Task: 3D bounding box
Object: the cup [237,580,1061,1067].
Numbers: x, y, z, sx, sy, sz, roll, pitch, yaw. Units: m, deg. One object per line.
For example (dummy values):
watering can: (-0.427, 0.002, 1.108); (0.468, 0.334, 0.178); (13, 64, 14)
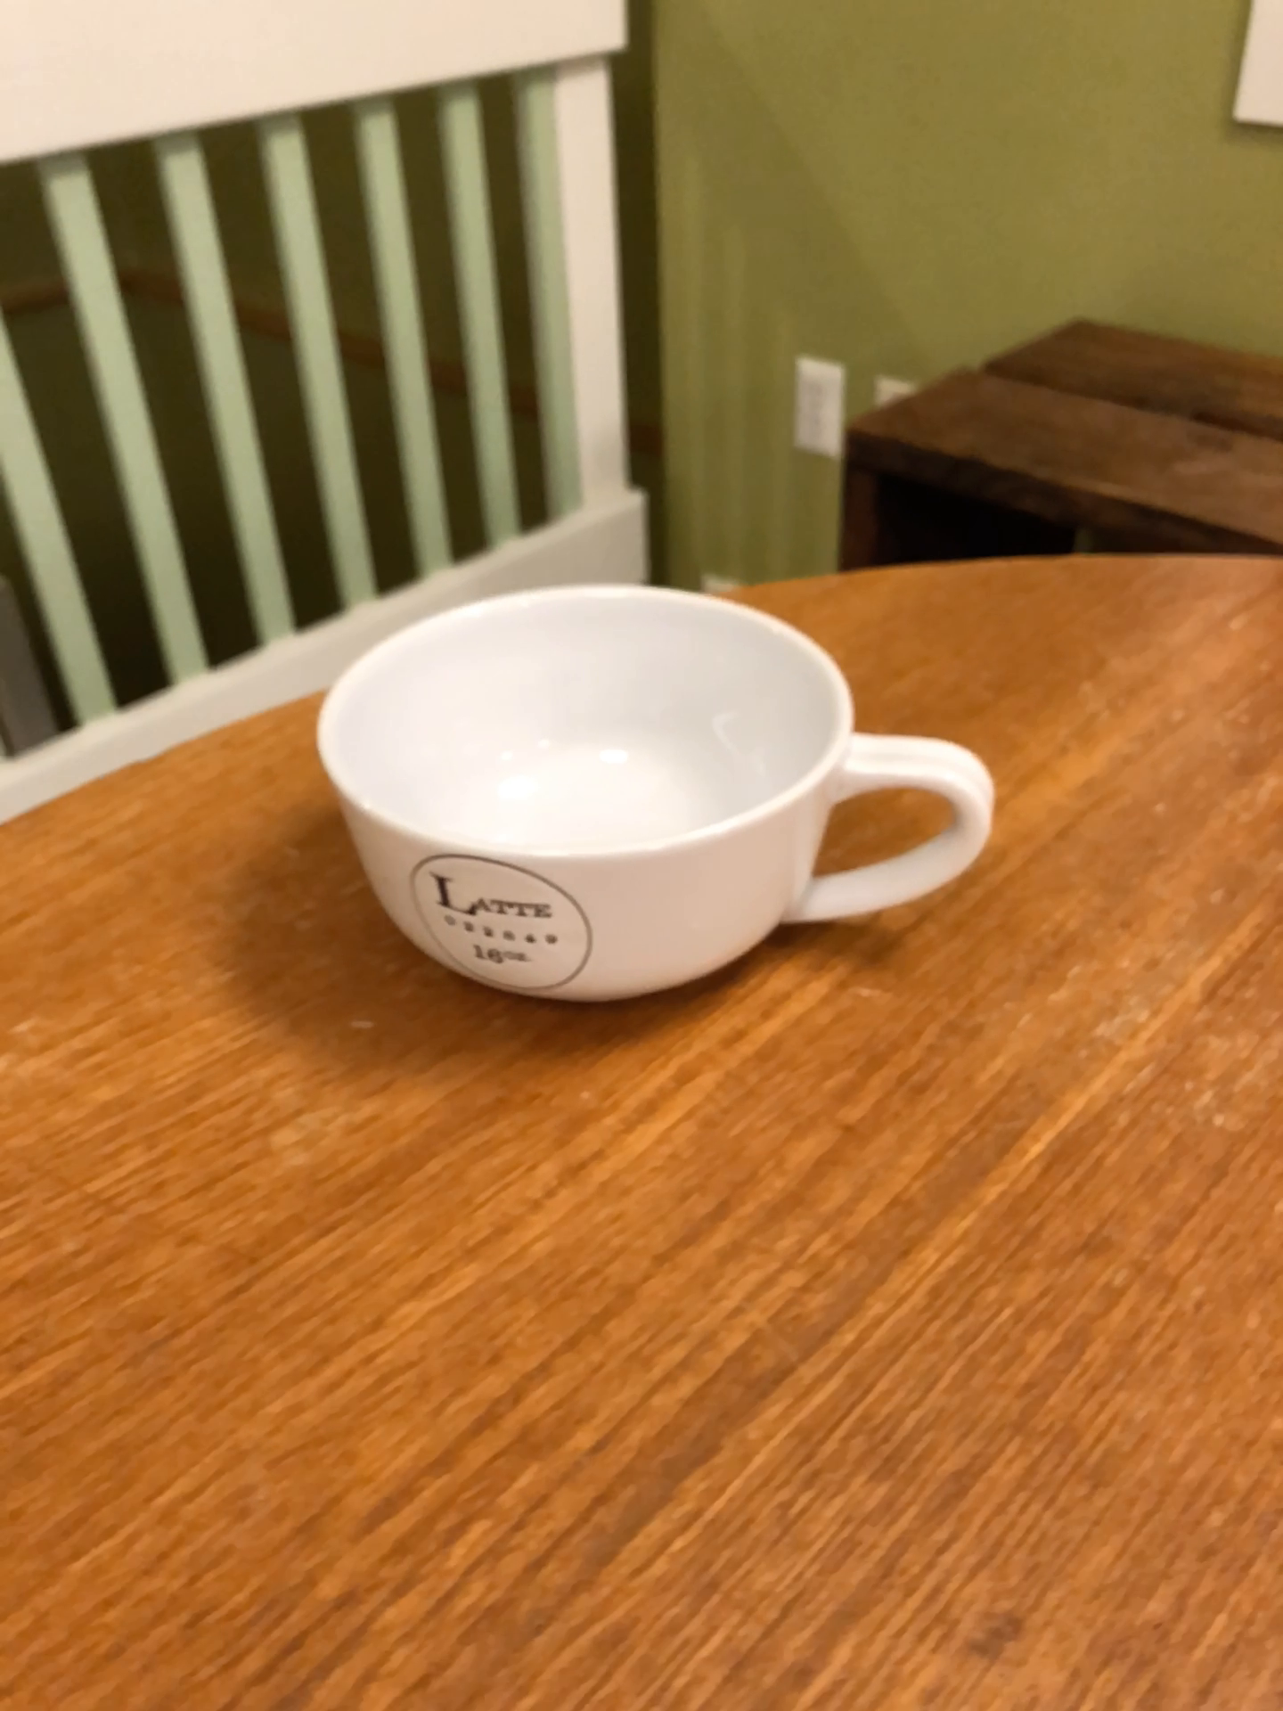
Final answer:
cup: (0.007, -0.017, 0.382); (0.179, 0.055, 0.139); (2, 36, 6)
